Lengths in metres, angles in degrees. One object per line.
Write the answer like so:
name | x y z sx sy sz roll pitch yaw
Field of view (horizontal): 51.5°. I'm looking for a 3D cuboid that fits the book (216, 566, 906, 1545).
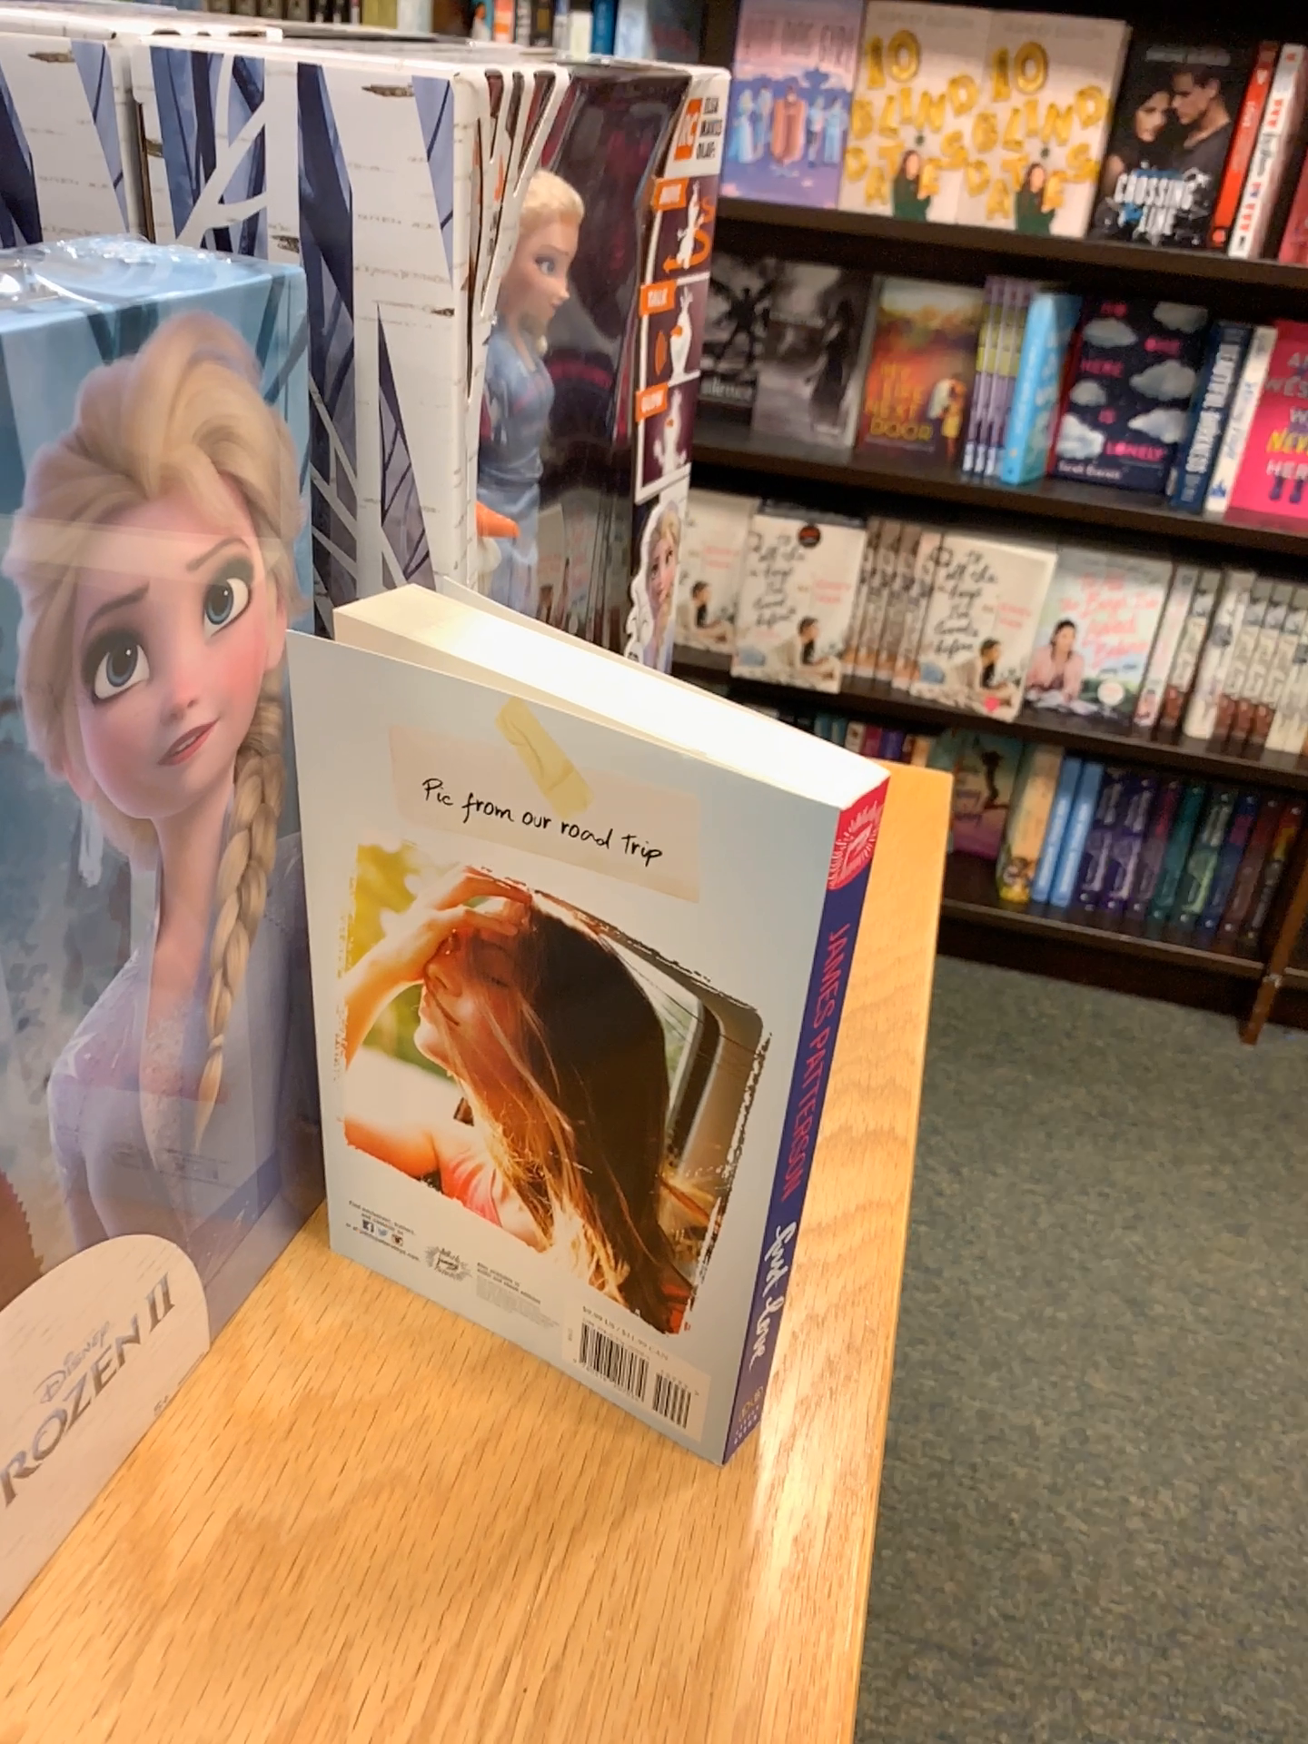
book | -0.029 0.047 0.344 0.142 0.205 0.059 25 39 29
